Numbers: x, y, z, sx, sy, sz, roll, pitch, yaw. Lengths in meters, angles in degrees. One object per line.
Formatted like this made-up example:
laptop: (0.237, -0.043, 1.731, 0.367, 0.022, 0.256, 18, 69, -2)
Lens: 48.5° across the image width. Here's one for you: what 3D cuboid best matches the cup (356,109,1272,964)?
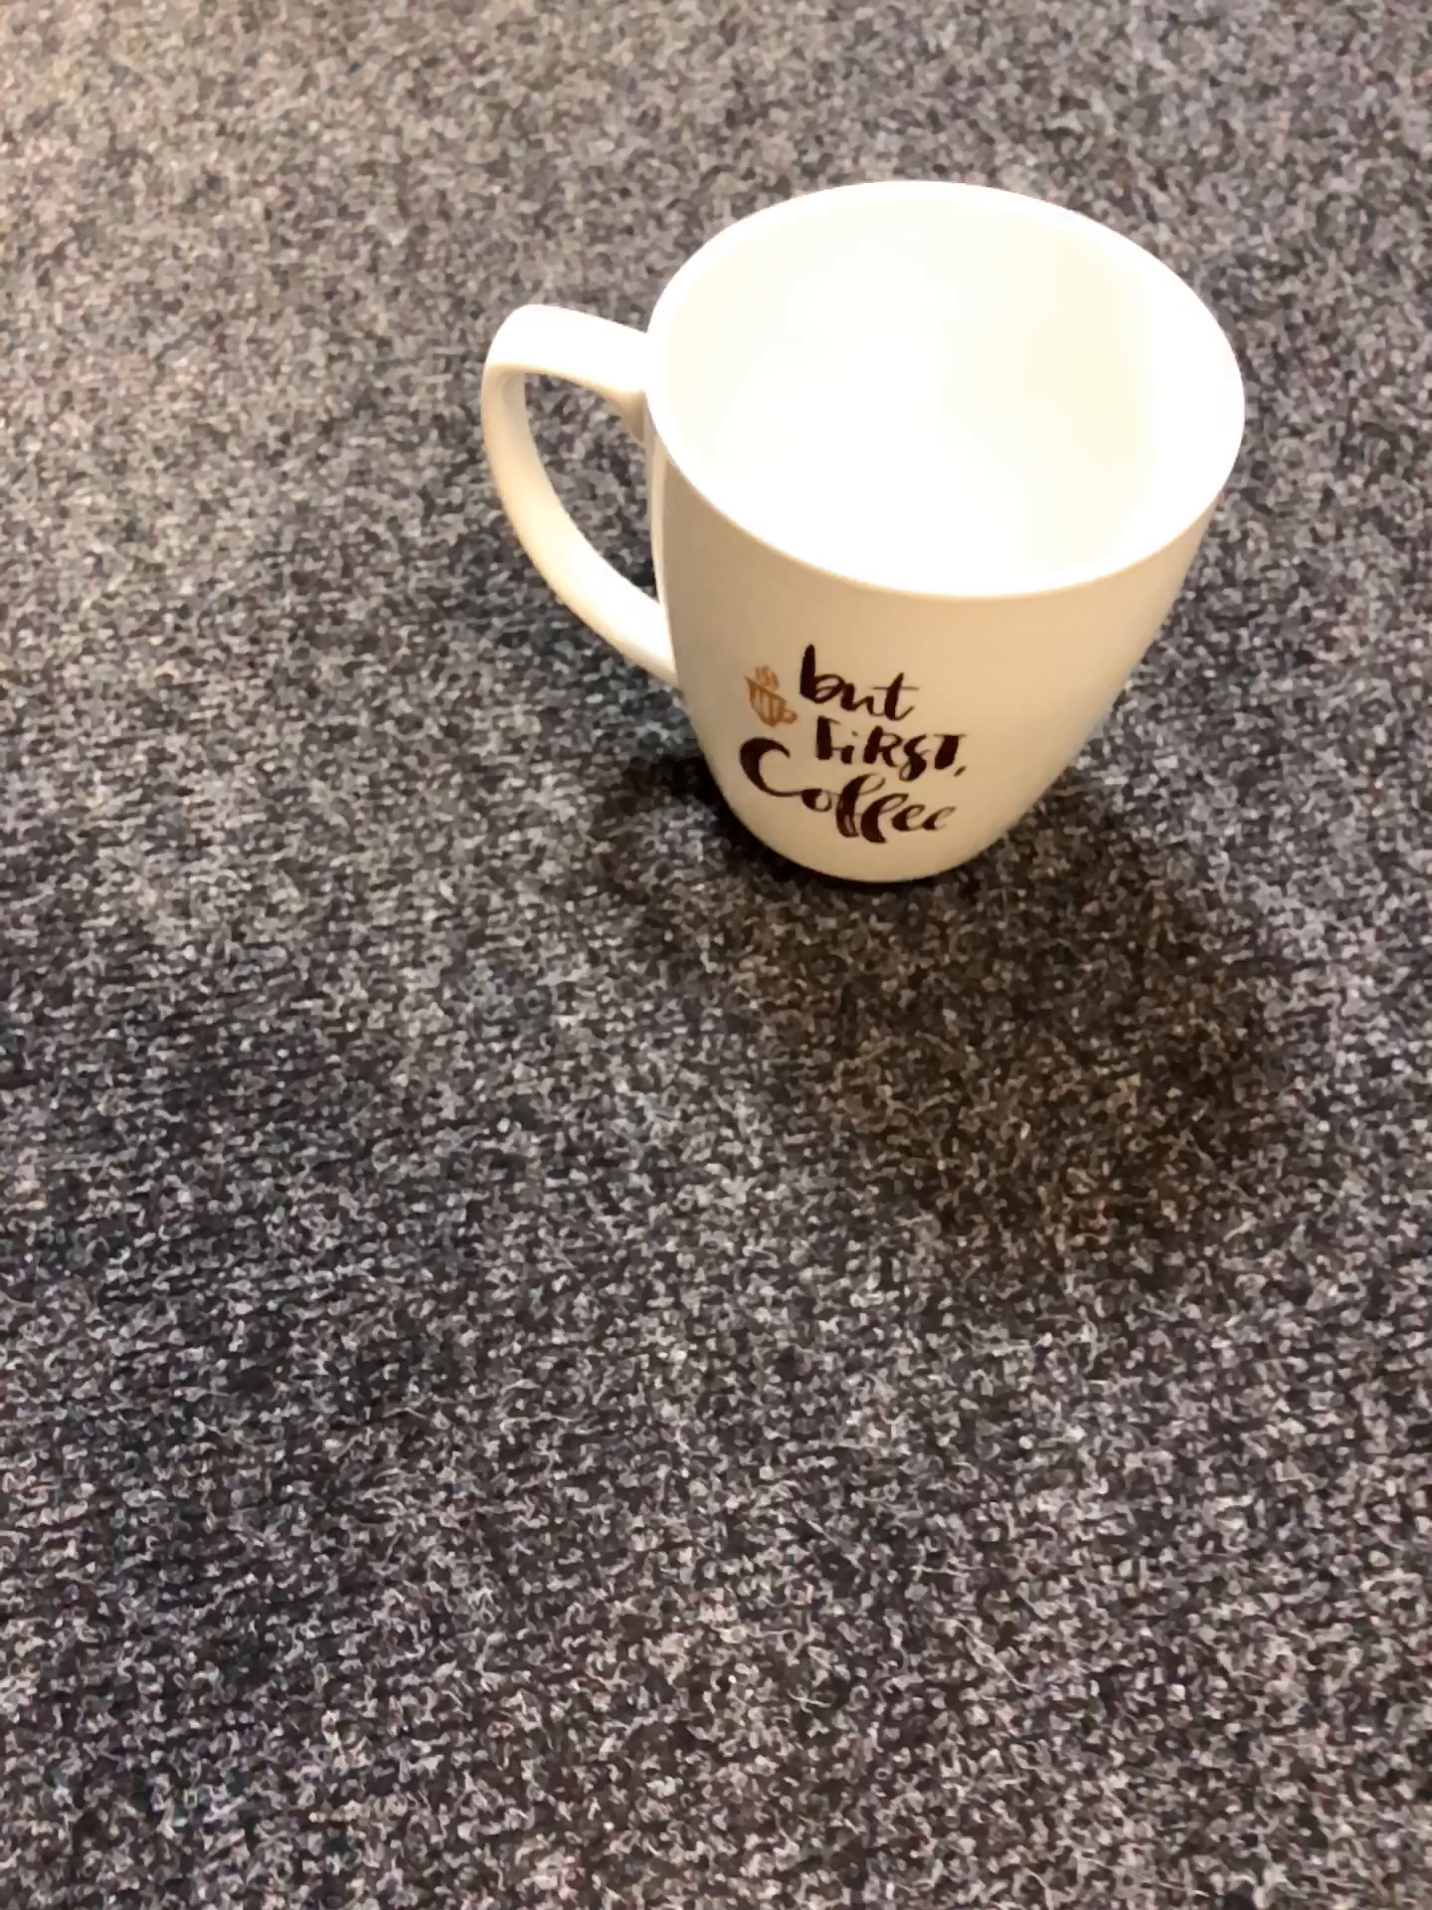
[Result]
cup: (0.020, -0.081, 0.321, 0.145, 0.100, 0.111, 9, 59, 2)
